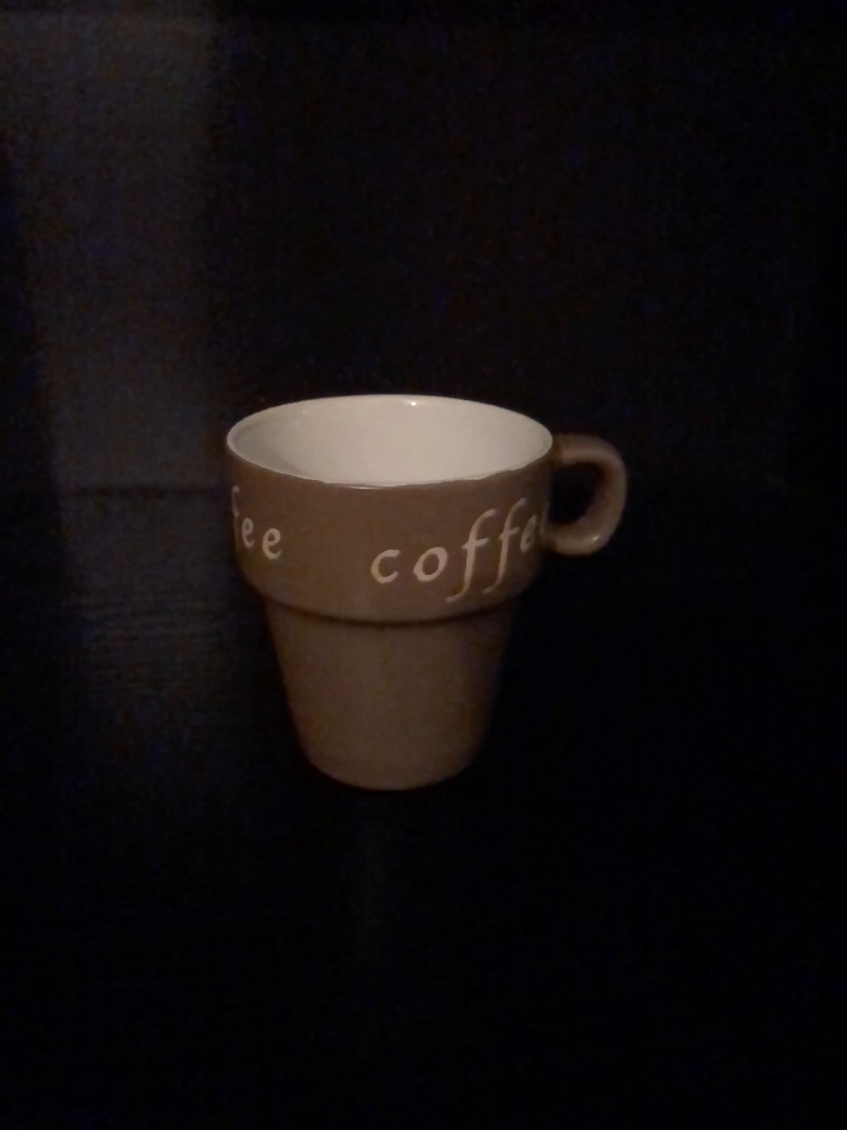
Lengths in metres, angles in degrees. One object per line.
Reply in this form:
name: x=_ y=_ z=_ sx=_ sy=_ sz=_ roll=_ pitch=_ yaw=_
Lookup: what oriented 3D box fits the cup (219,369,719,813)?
cup: x=0.005 y=0.000 z=0.255 sx=0.107 sy=0.082 sz=0.080 roll=-6 pitch=25 yaw=-14
